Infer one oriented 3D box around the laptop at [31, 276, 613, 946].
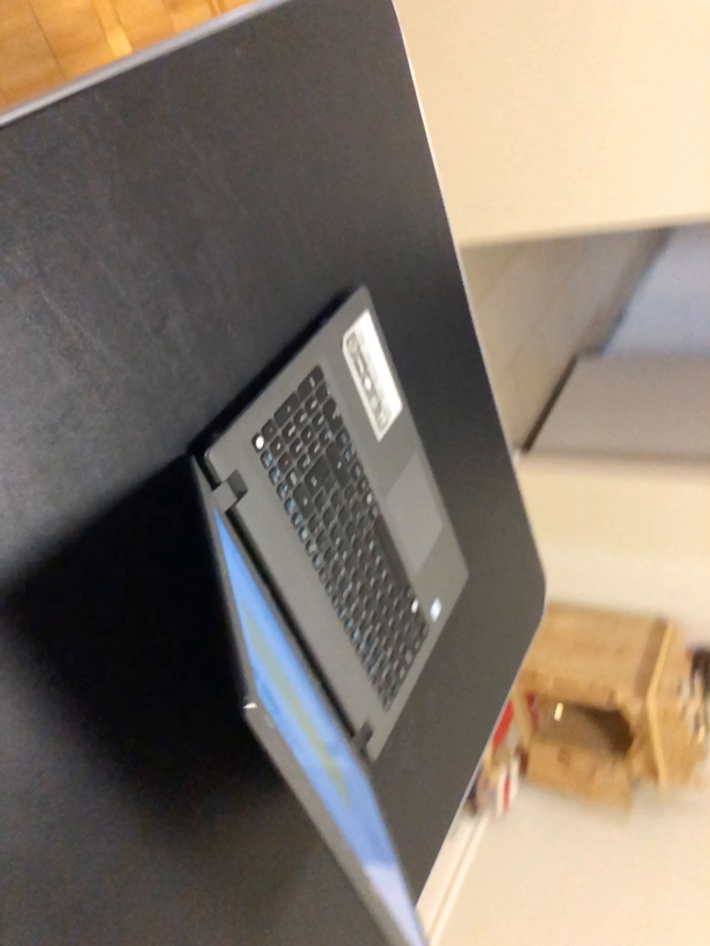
[{"bbox_3d":[0.046,0.115,0.638,0.431,0.162,0.375,-54,134,-39],"label":"laptop"}]
